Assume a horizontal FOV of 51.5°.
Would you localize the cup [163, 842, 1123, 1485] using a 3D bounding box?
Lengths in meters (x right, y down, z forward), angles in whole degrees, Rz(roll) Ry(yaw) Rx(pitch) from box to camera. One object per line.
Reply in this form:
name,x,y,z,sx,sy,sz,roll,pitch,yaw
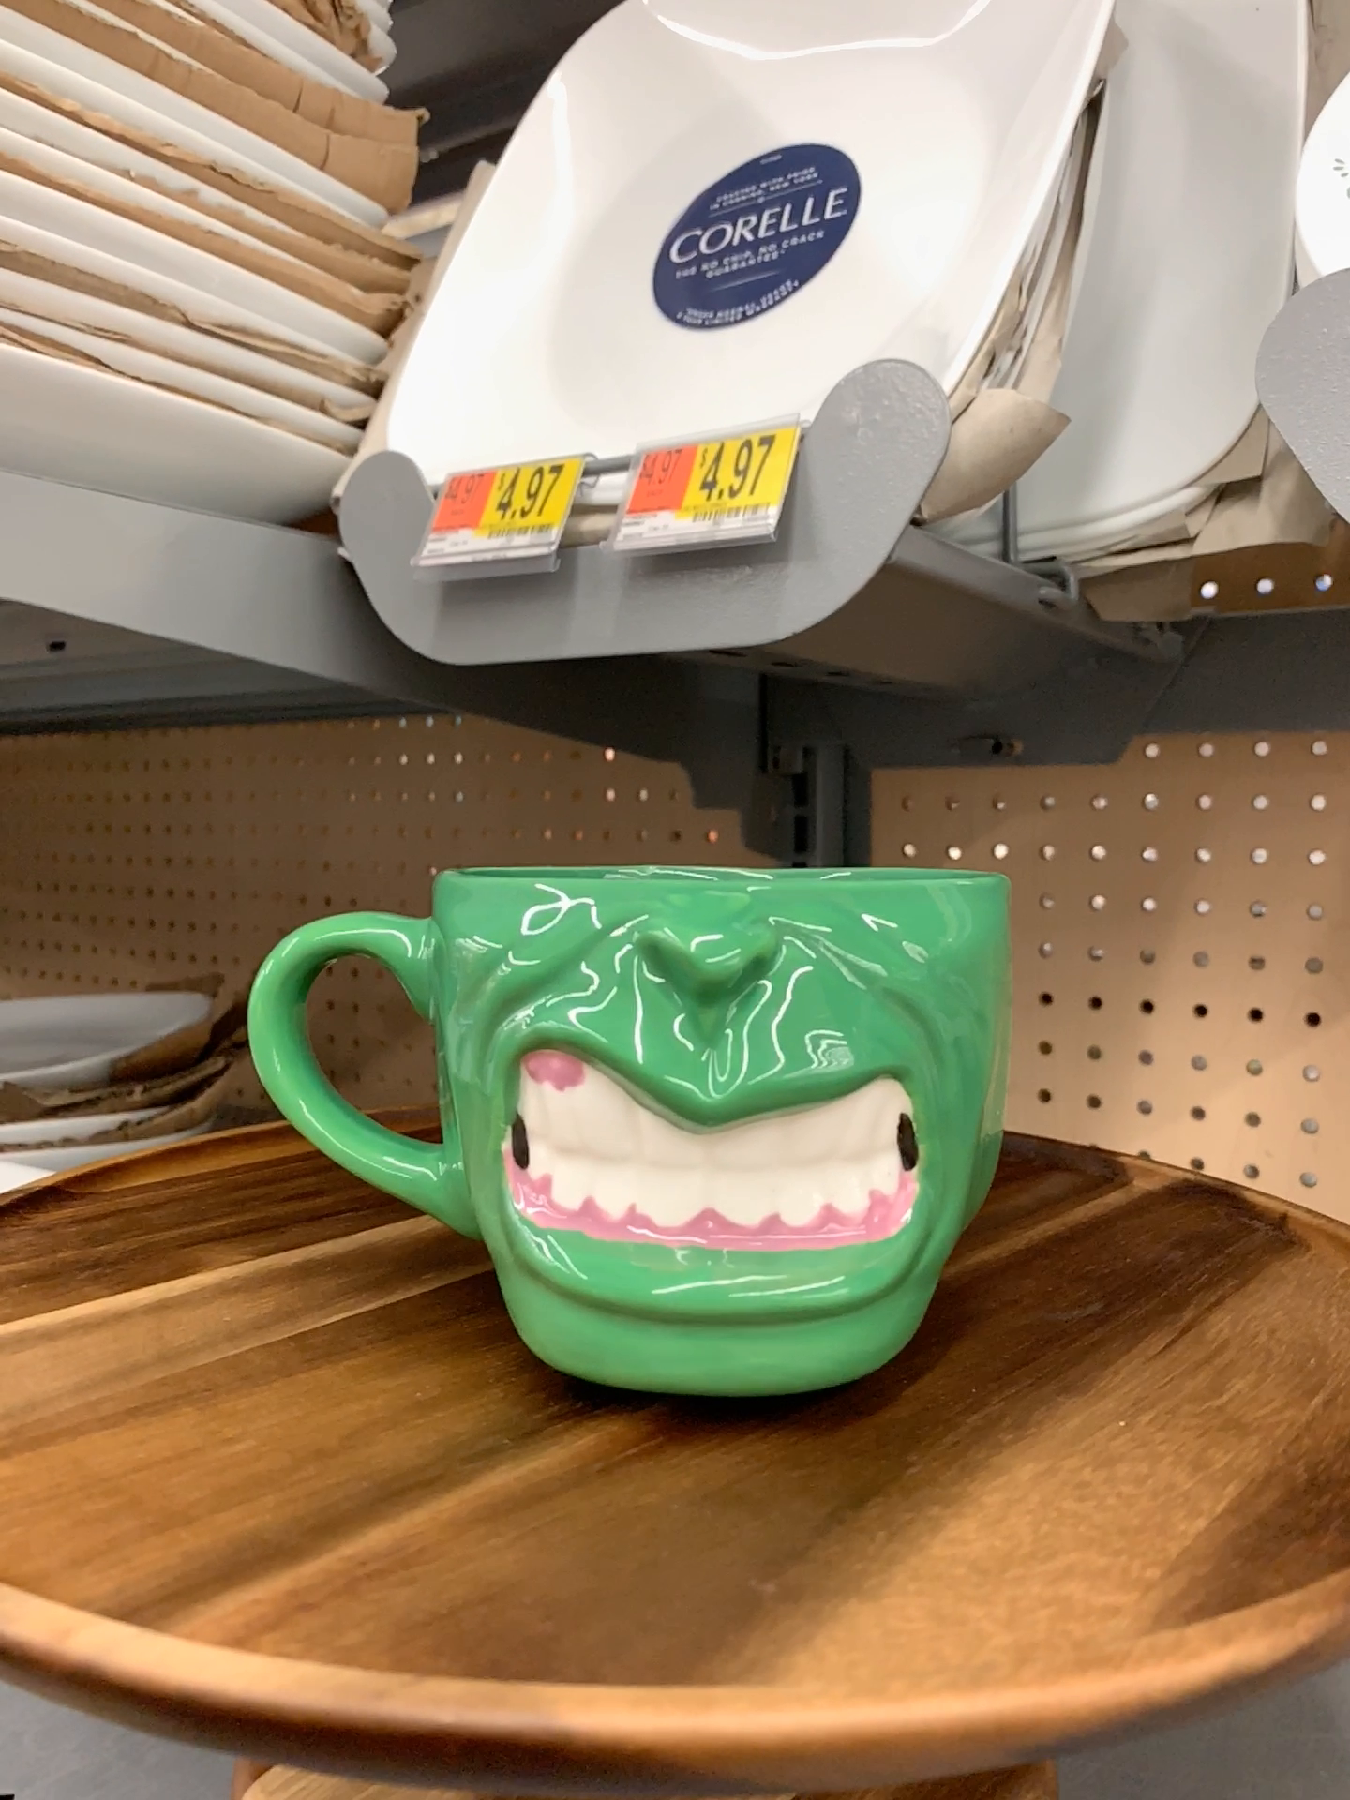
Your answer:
cup,-0.002,0.035,0.270,0.140,0.090,0.130,0,3,0
